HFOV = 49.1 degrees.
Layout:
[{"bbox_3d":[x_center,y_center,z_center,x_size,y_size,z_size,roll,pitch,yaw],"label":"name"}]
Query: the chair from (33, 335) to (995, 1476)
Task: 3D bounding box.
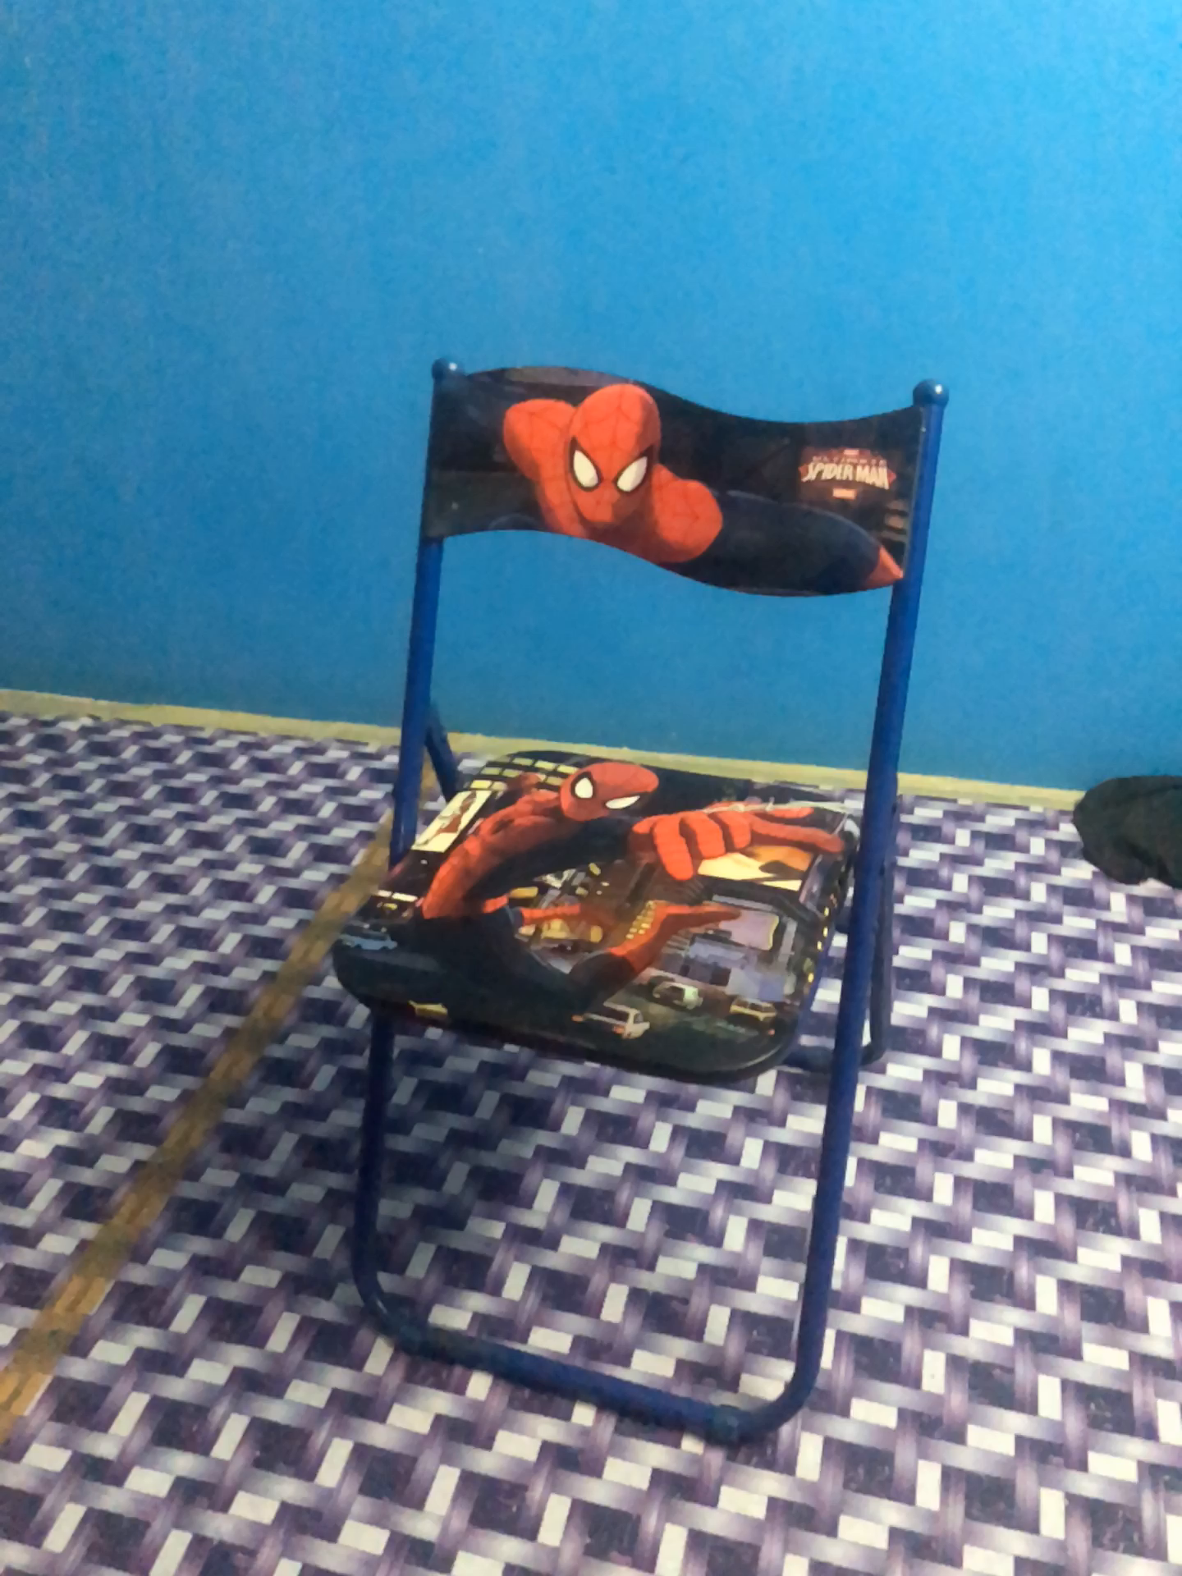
[{"bbox_3d":[0.015,0.054,1.096,0.510,0.686,0.563,8,35,16],"label":"chair"}]
